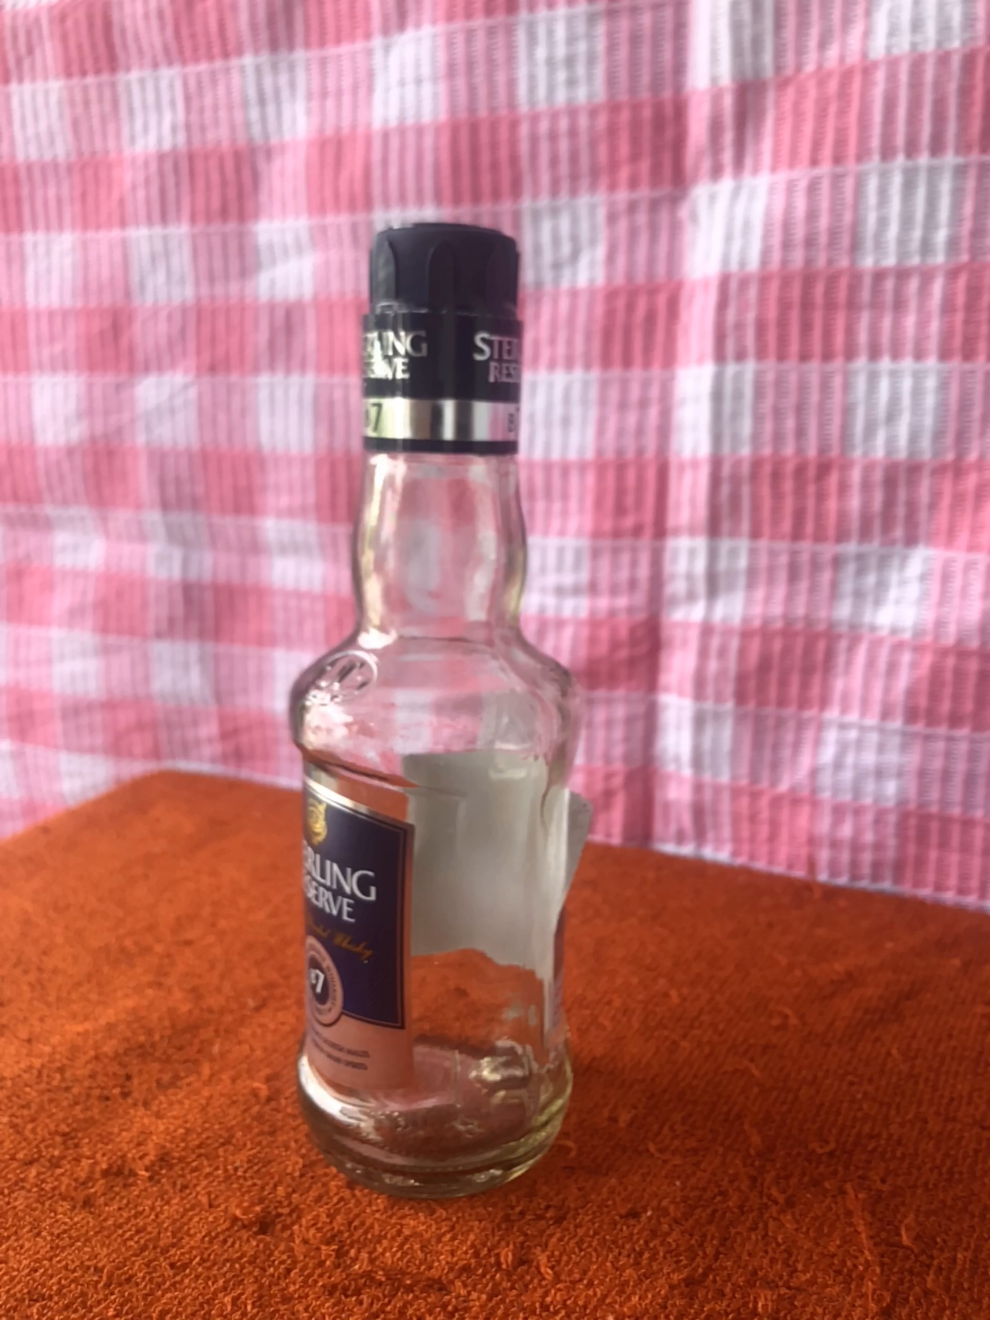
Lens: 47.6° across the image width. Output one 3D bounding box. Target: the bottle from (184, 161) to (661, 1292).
[{"bbox_3d":[-0.014,0.010,0.197,0.050,0.169,0.060,-10,18,-35],"label":"bottle"}]
